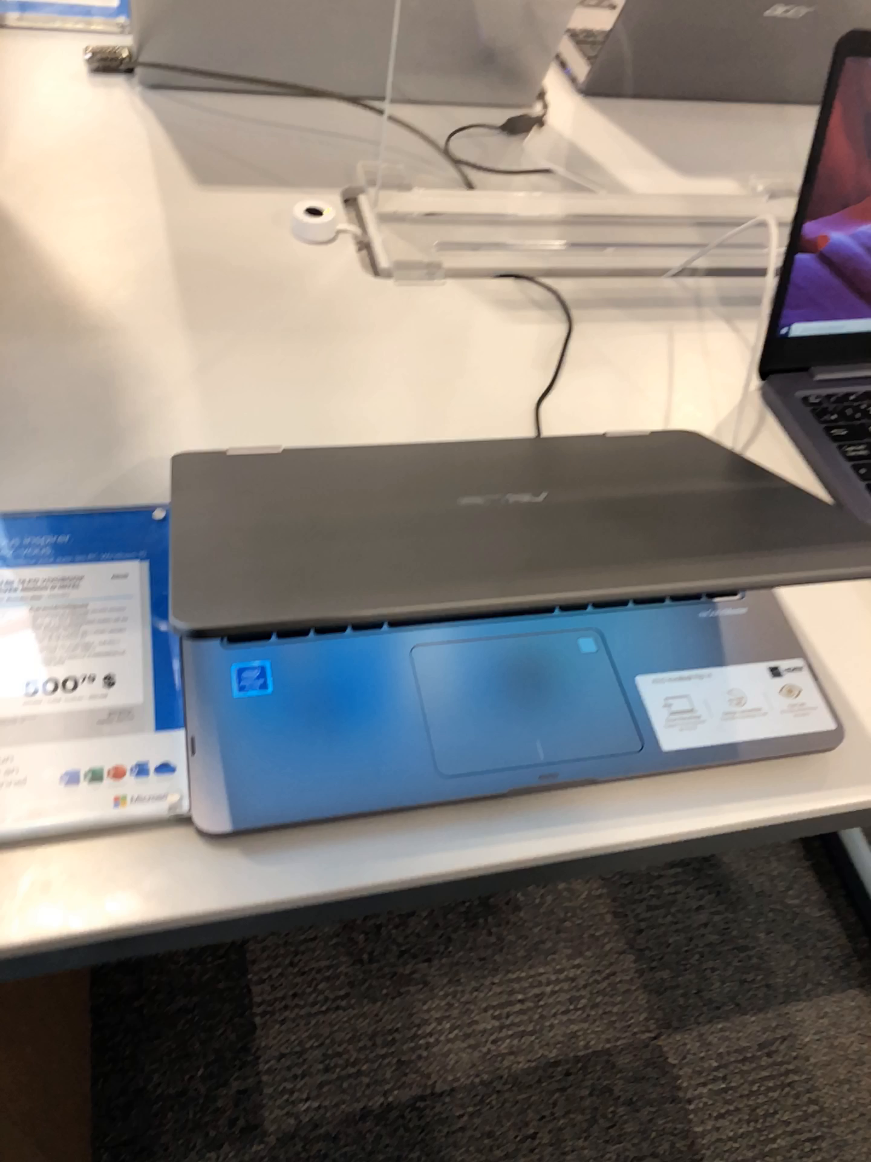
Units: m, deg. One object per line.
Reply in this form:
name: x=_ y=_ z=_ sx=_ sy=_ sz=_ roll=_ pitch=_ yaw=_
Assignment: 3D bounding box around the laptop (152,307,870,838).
laptop: x=0.036 y=-0.021 z=0.466 sx=0.322 sy=0.105 sz=0.215 roll=-5 pitch=52 yaw=-13
